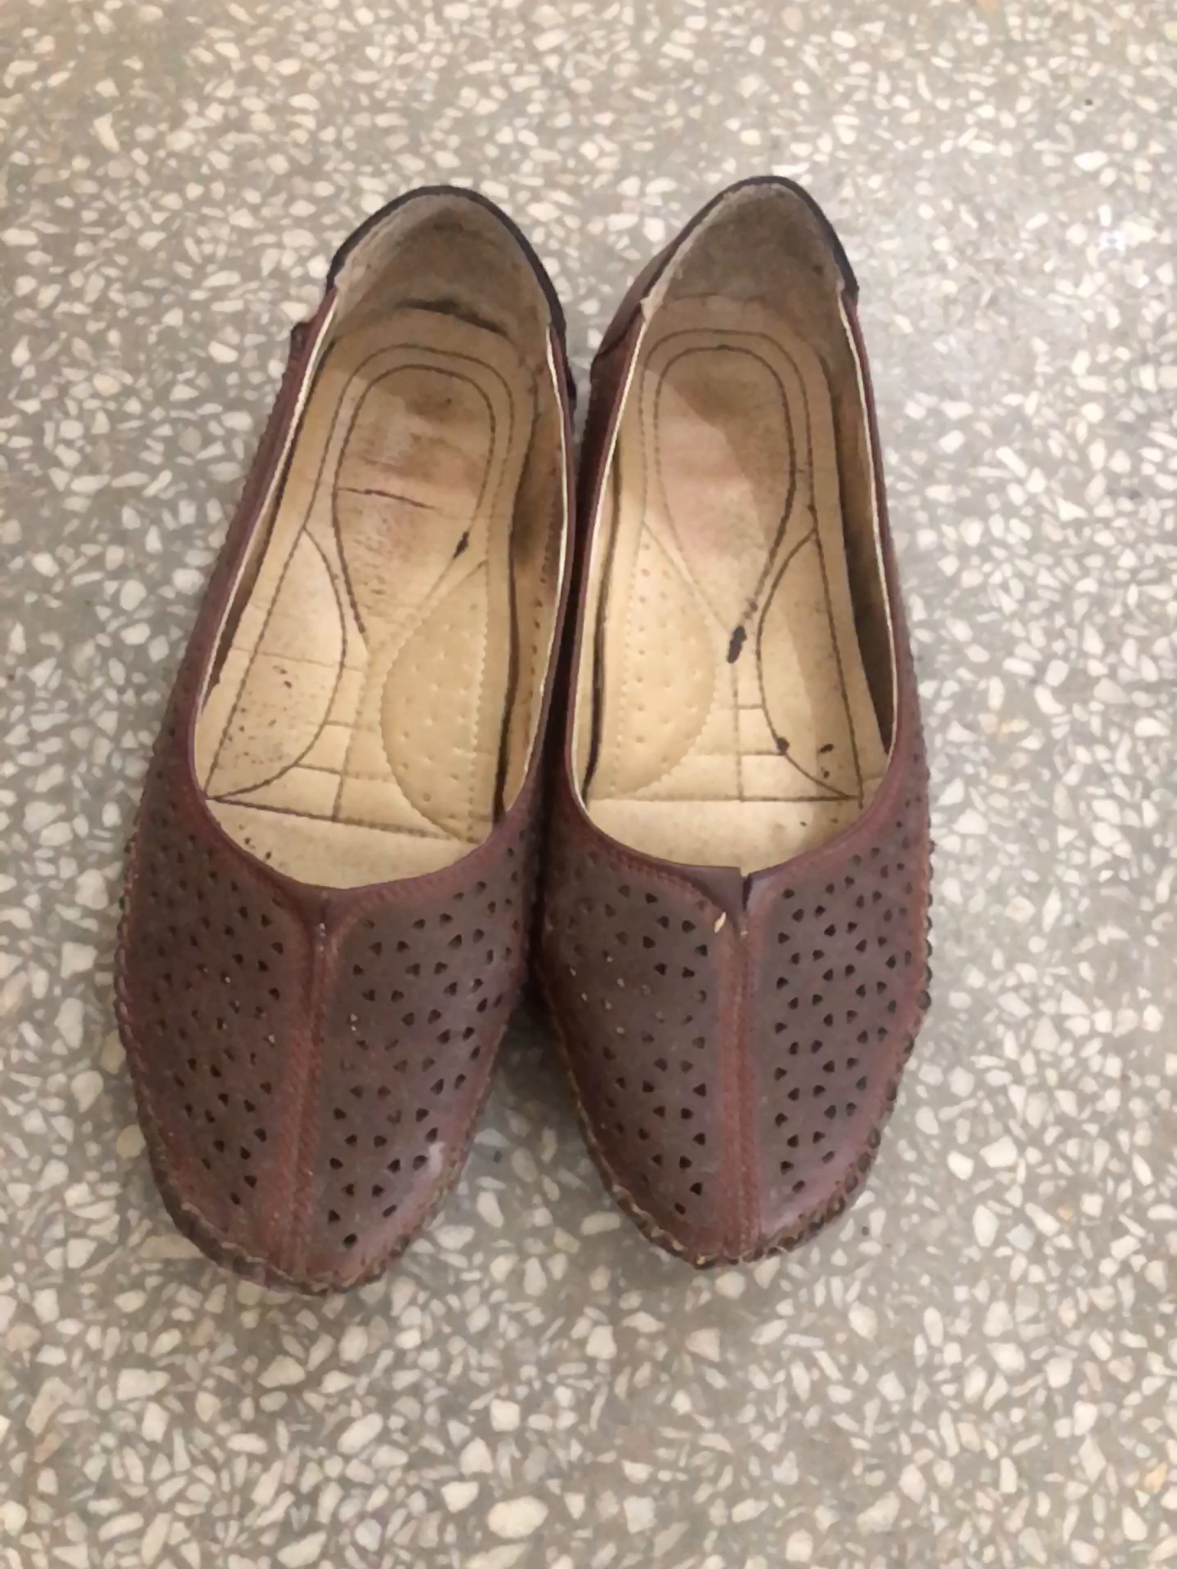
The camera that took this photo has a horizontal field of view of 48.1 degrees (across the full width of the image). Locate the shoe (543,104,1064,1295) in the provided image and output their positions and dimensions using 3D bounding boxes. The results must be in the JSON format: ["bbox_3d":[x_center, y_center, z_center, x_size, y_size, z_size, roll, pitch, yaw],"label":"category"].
[{"bbox_3d":[0.039,-0.023,0.294,0.090,0.060,0.250,2,74,-5],"label":"shoe"}]

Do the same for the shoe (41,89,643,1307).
[{"bbox_3d":[-0.043,-0.024,0.293,0.090,0.060,0.250,5,74,-4],"label":"shoe"}]
